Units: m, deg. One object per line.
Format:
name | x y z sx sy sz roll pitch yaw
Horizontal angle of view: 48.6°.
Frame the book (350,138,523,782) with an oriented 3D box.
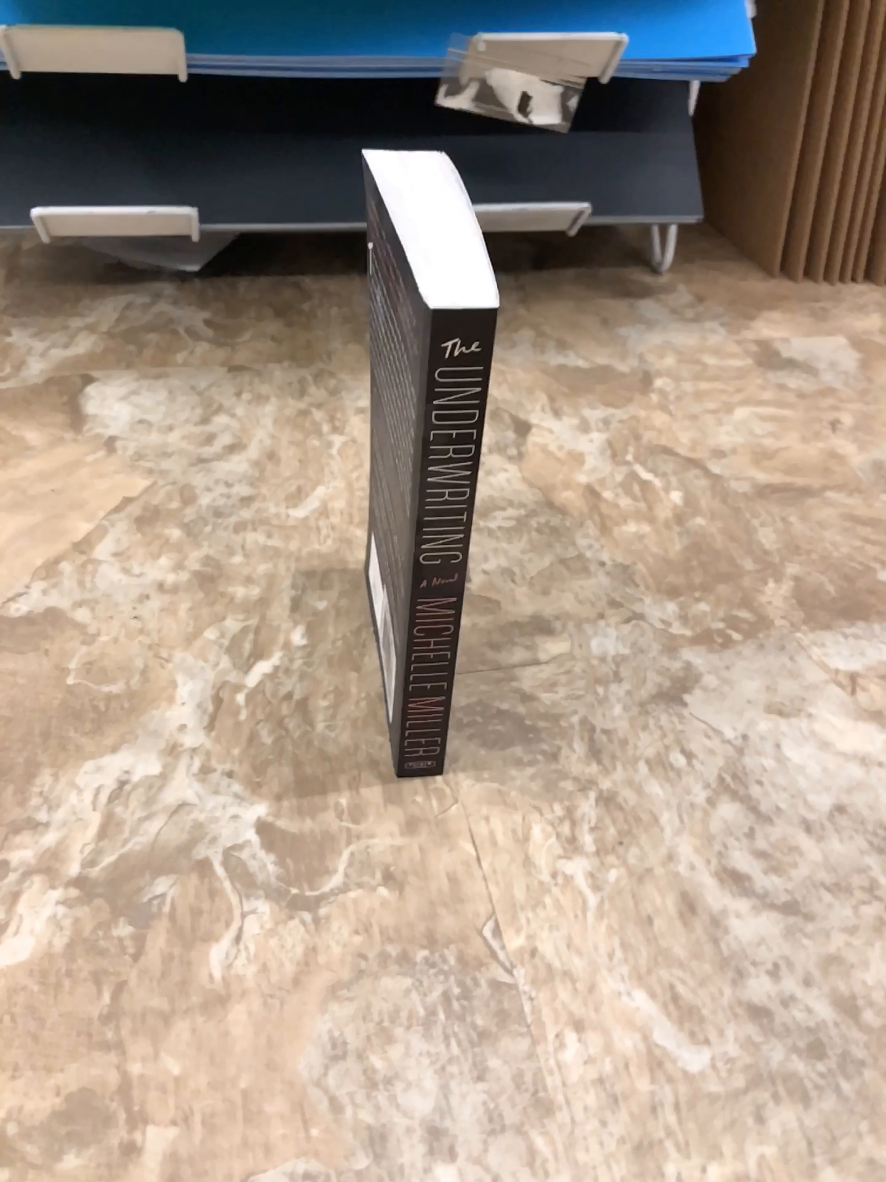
book | -0.013 -0.047 0.383 0.035 0.203 0.141 -2 41 -9
